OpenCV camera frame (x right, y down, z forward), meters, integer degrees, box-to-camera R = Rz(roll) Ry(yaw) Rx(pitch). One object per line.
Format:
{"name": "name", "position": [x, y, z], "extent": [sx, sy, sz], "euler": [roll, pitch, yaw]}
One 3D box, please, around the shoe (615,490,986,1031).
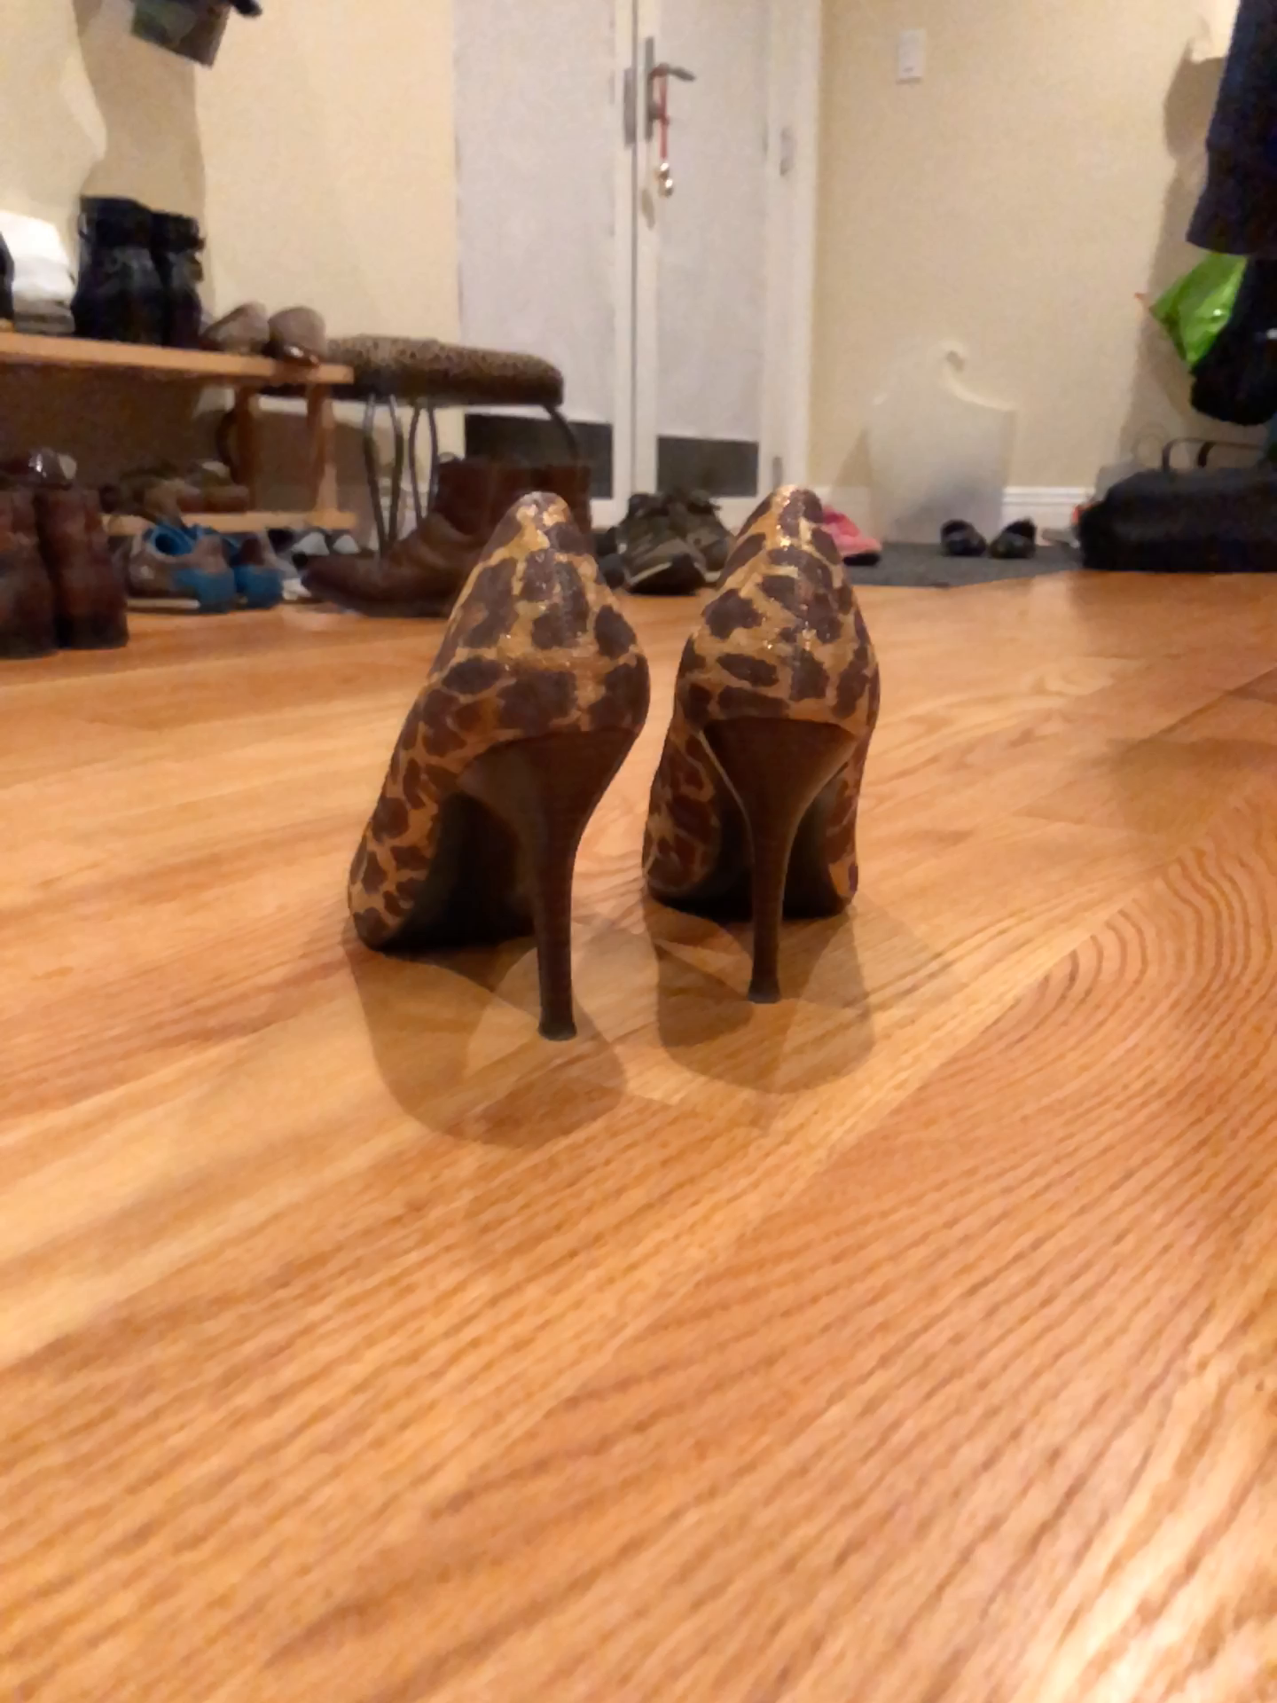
{"name": "shoe", "position": [0.039, -0.048, 0.477], "extent": [0.083, 0.144, 0.219], "euler": [-1, 14, -4]}

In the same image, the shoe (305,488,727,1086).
{"name": "shoe", "position": [-0.051, -0.040, 0.445], "extent": [0.083, 0.144, 0.219], "euler": [-4, 14, -17]}
